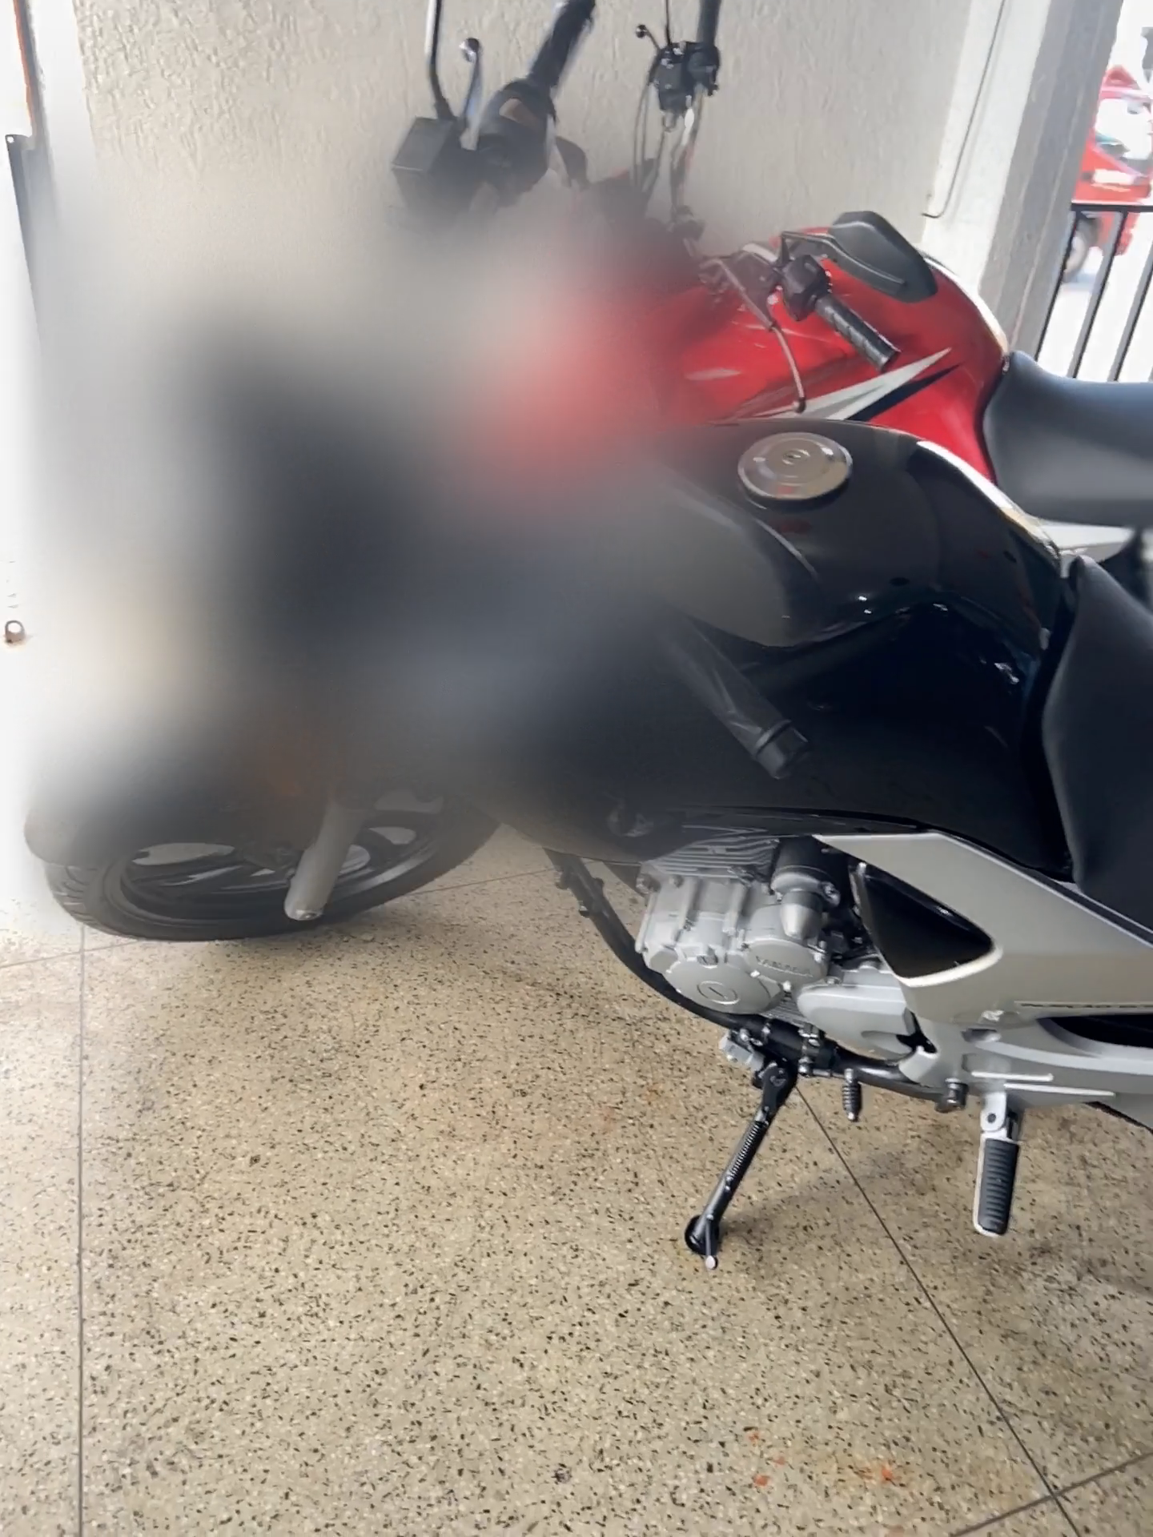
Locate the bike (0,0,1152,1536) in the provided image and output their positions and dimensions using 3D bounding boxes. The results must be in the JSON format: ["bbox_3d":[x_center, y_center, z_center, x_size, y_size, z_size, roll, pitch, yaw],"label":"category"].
[{"bbox_3d":[0.374,0.073,1.200,1.877,1.511,0.848,8,33,1],"label":"bike"}]
